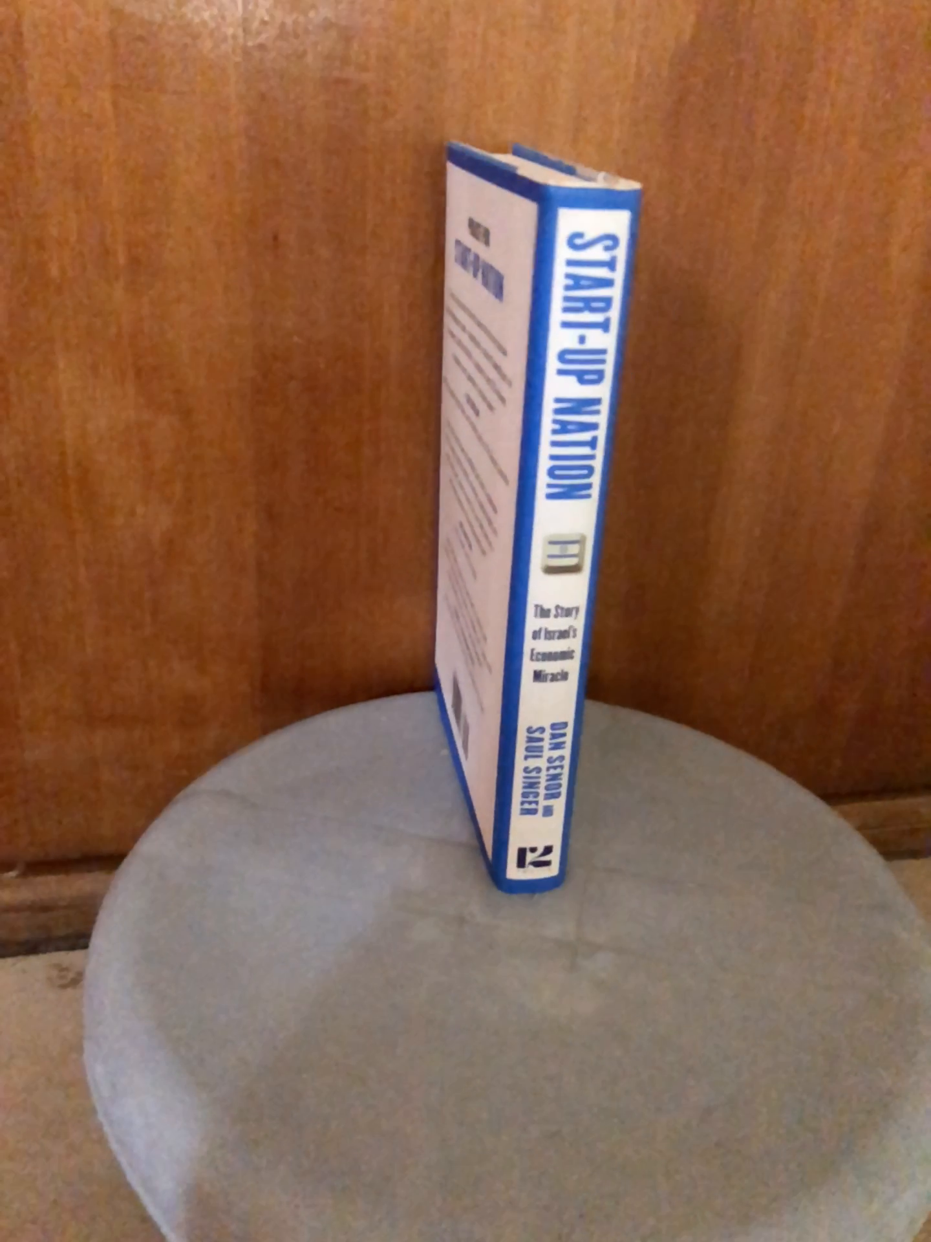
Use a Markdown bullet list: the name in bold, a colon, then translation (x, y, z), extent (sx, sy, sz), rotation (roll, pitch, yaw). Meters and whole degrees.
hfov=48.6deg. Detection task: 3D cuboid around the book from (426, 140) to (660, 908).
- **book**: translation (0.014, -0.052, 0.387), extent (0.040, 0.229, 0.201), rotation (-2, 26, -6)
